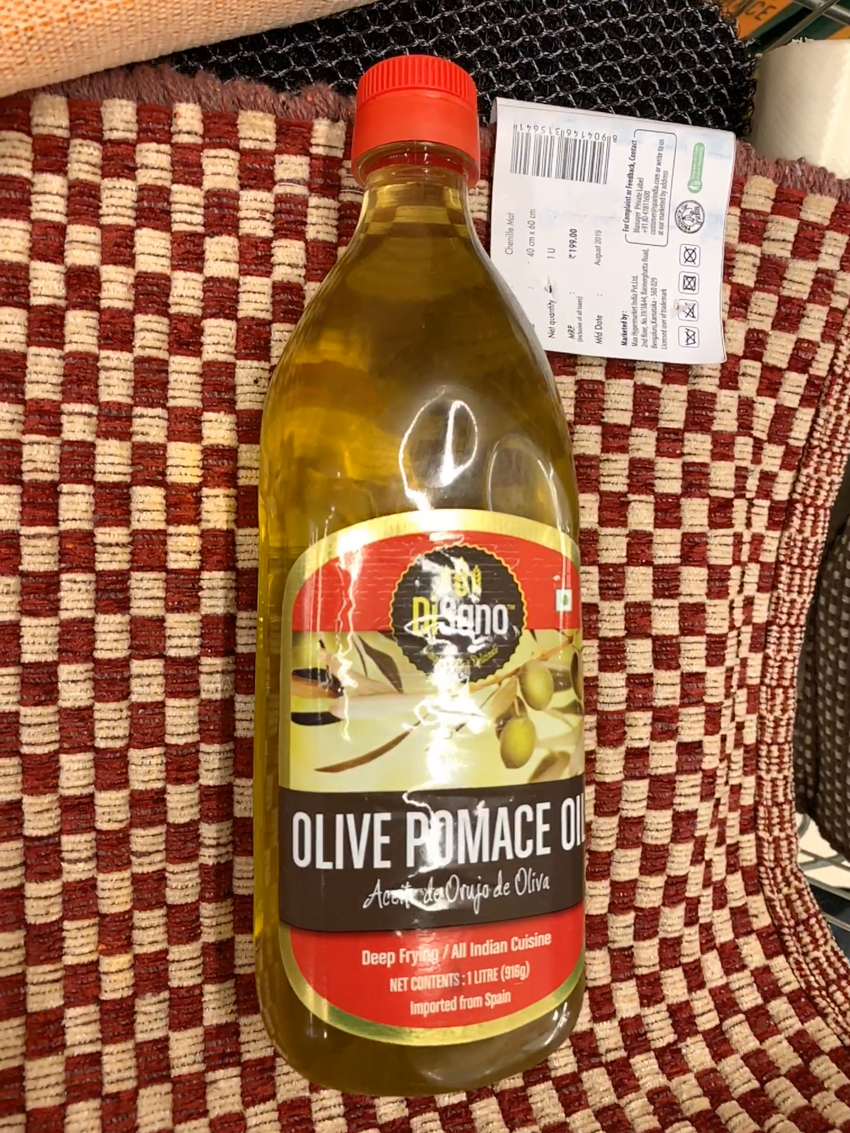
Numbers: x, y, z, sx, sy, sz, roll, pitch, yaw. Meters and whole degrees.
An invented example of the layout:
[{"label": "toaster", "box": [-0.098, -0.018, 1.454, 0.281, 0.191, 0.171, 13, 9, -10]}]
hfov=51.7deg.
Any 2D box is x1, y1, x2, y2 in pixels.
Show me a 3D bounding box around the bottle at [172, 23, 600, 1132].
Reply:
[{"label": "bottle", "box": [-0.014, 0.004, 0.215, 0.080, 0.080, 0.210, 1, 88, -21]}]
